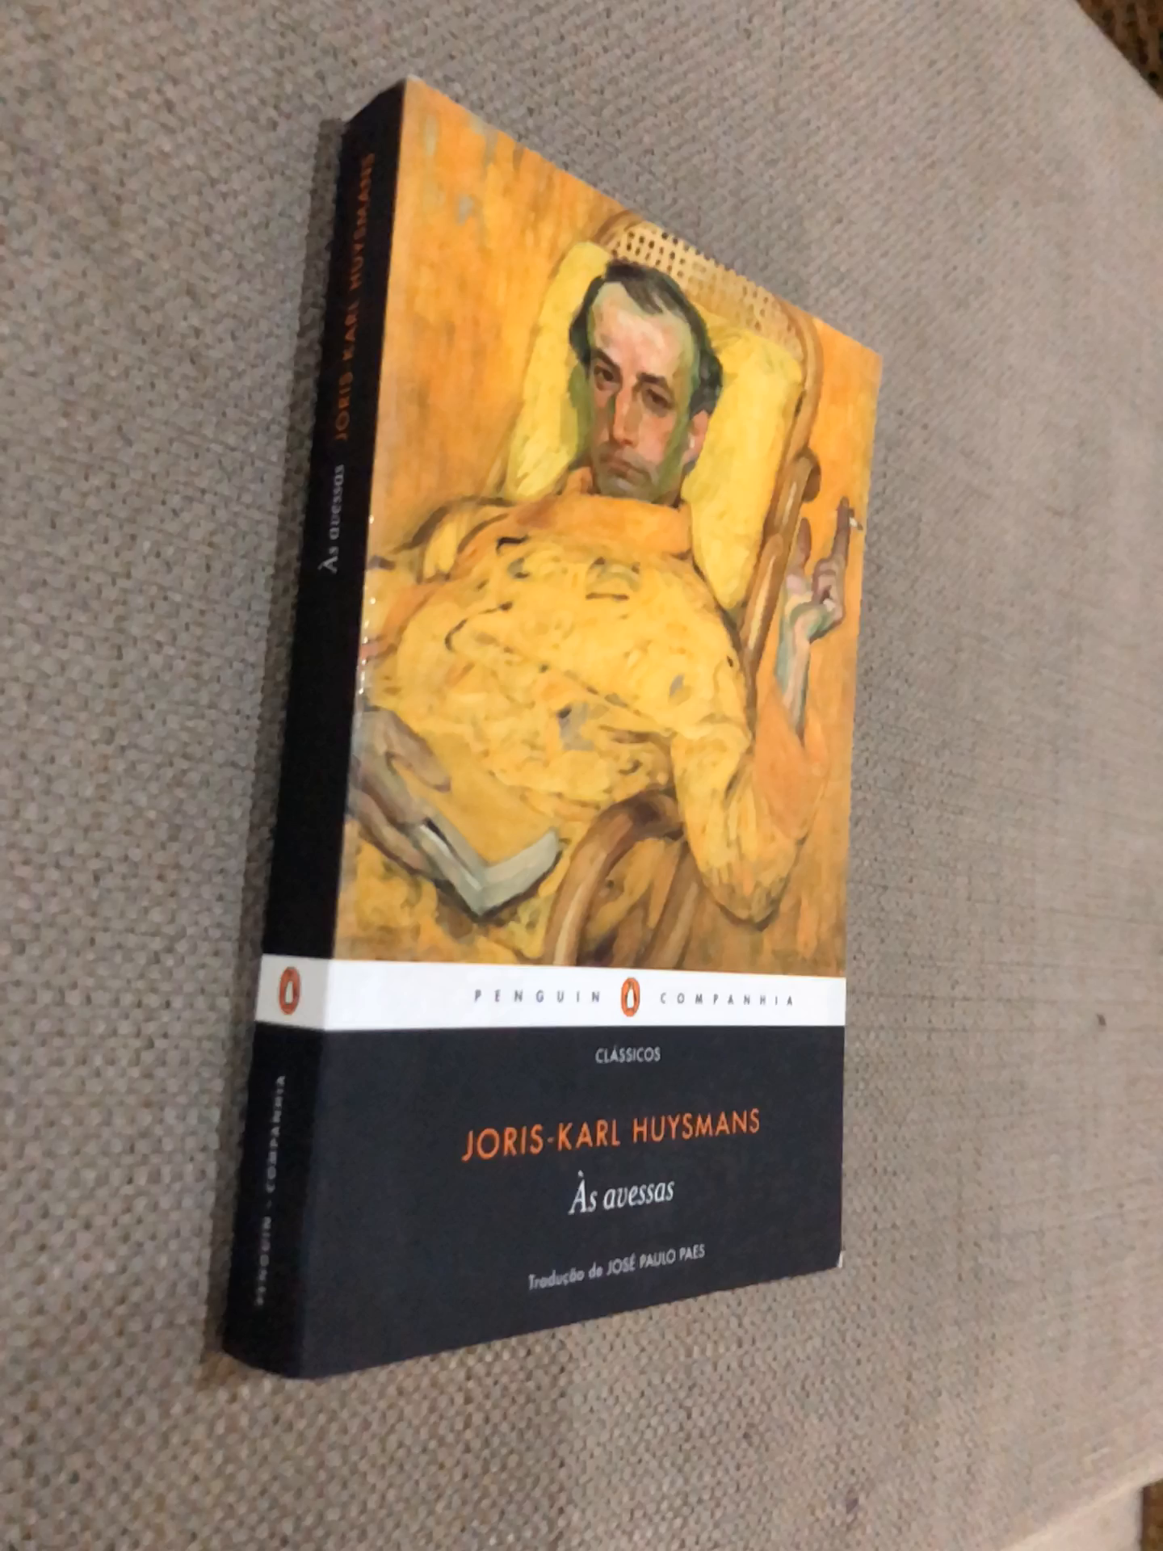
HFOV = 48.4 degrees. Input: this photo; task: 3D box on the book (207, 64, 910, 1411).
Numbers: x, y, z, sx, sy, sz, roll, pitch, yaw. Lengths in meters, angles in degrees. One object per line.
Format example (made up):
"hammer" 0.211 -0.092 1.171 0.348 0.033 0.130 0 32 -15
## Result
"book" 0.008 -0.002 0.237 0.131 0.023 0.195 11 80 -41
